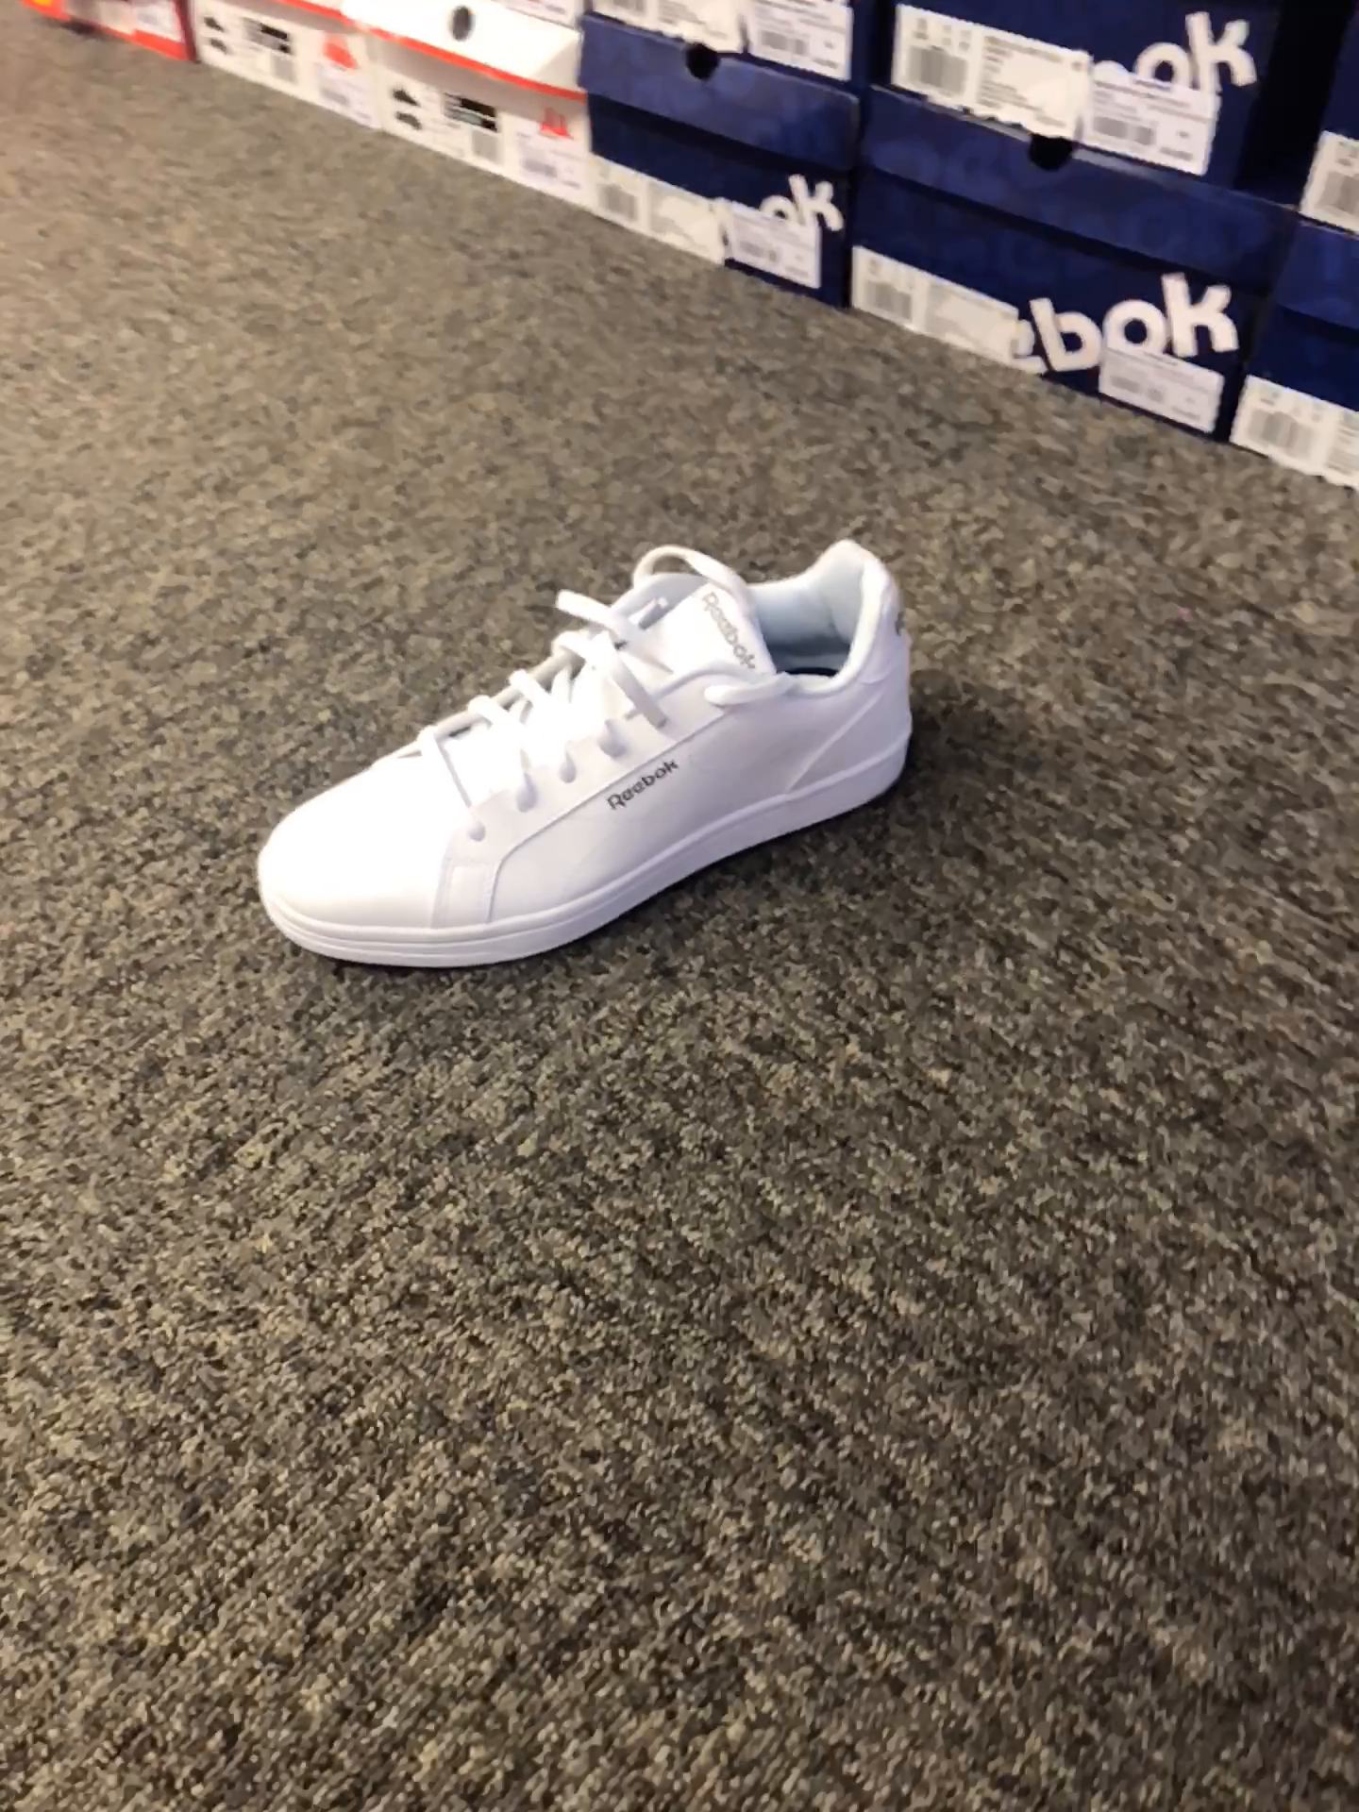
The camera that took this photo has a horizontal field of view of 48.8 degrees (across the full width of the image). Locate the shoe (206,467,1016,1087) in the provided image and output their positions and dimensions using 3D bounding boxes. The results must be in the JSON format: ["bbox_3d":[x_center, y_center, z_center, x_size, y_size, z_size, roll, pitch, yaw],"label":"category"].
[{"bbox_3d":[-0.020,-0.050,0.548,0.260,0.100,0.100,-23,51,-10],"label":"shoe"}]
